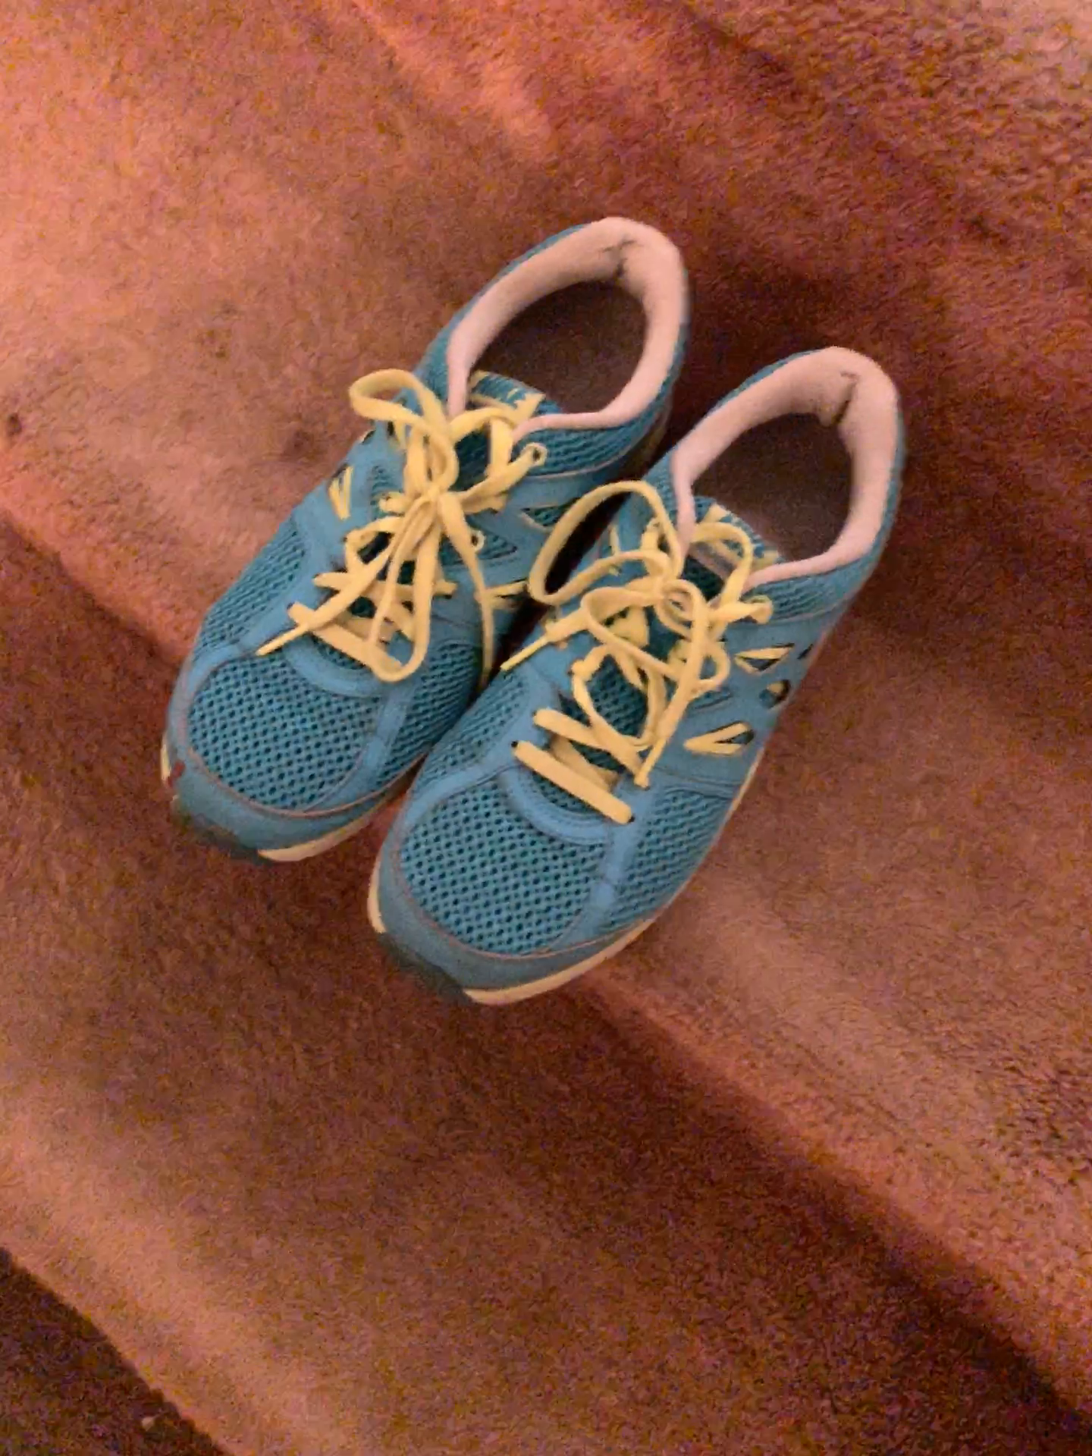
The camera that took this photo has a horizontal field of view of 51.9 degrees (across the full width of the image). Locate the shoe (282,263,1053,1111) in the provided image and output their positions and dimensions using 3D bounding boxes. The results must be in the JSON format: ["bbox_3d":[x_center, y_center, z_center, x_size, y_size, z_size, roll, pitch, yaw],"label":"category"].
[{"bbox_3d":[0.047,-0.023,0.394,0.110,0.099,0.281,38,65,6],"label":"shoe"}]

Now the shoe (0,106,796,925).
[{"bbox_3d":[-0.038,-0.084,0.405,0.110,0.099,0.281,35,64,5],"label":"shoe"}]
